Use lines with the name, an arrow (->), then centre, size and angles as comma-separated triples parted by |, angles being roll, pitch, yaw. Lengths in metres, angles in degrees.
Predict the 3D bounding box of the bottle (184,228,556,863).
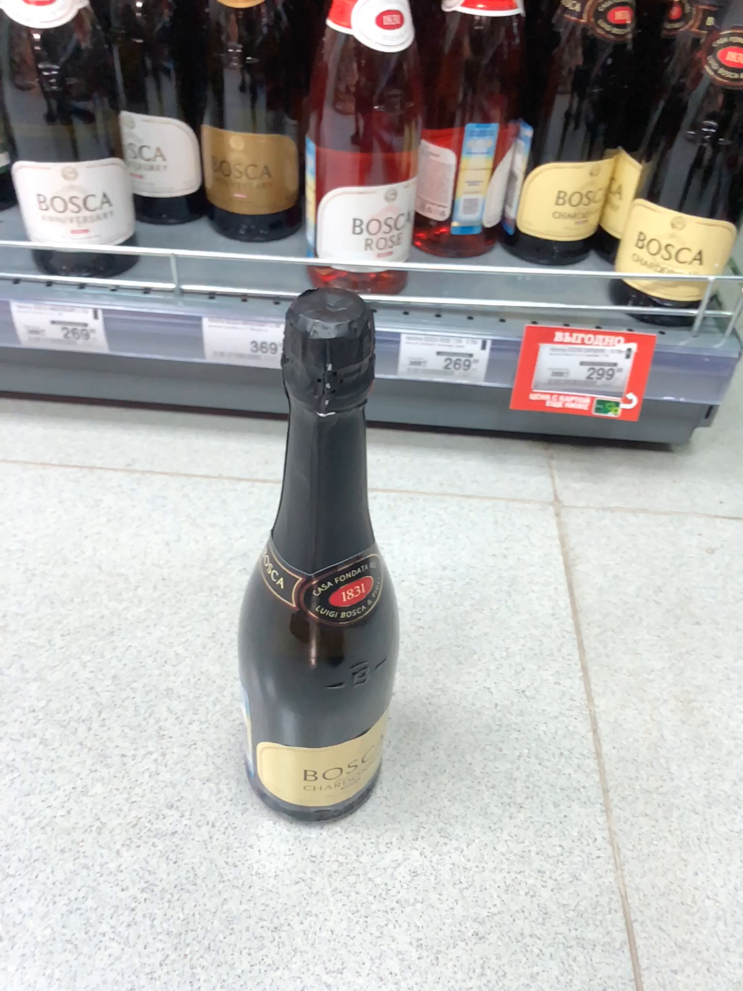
bottle -> -0.014, 0.047, 0.387 | 0.100, 0.311, 0.090 | -14, 47, -19
